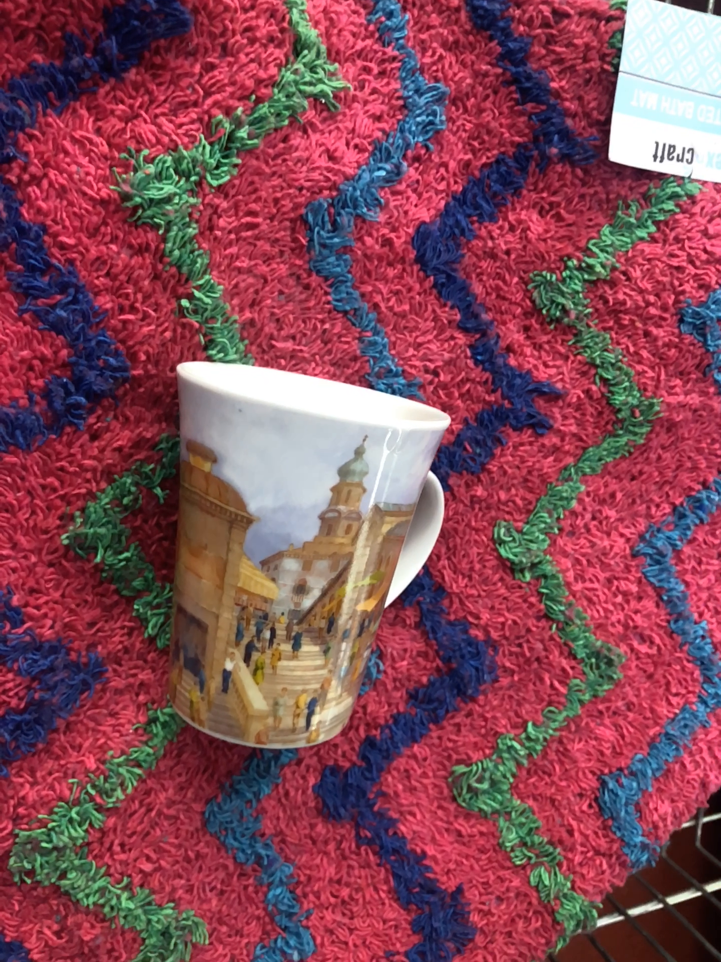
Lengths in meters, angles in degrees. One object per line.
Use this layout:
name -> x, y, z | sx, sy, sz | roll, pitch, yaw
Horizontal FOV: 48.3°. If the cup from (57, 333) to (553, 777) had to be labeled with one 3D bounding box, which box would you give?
cup -> -0.013, 0.013, 0.250 | 0.110, 0.090, 0.090 | -2, 107, -55
